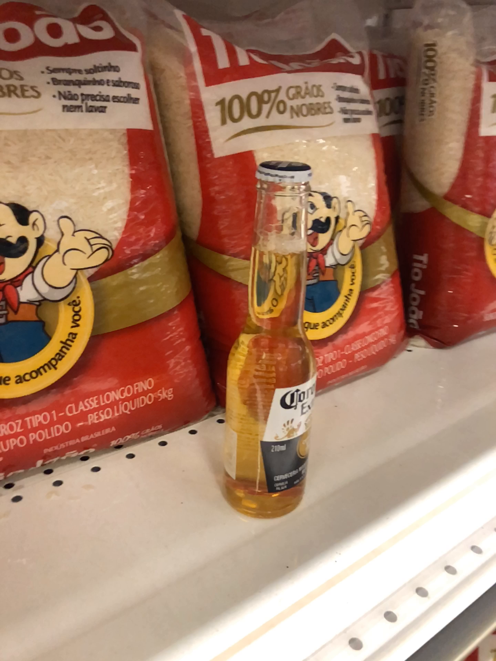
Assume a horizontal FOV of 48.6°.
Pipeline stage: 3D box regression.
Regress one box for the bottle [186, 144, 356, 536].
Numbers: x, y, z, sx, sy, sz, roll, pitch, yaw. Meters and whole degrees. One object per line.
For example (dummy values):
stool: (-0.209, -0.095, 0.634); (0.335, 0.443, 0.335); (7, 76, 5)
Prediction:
bottle: (0.008, 0.007, 0.303); (0.060, 0.199, 0.060); (3, 25, -1)
